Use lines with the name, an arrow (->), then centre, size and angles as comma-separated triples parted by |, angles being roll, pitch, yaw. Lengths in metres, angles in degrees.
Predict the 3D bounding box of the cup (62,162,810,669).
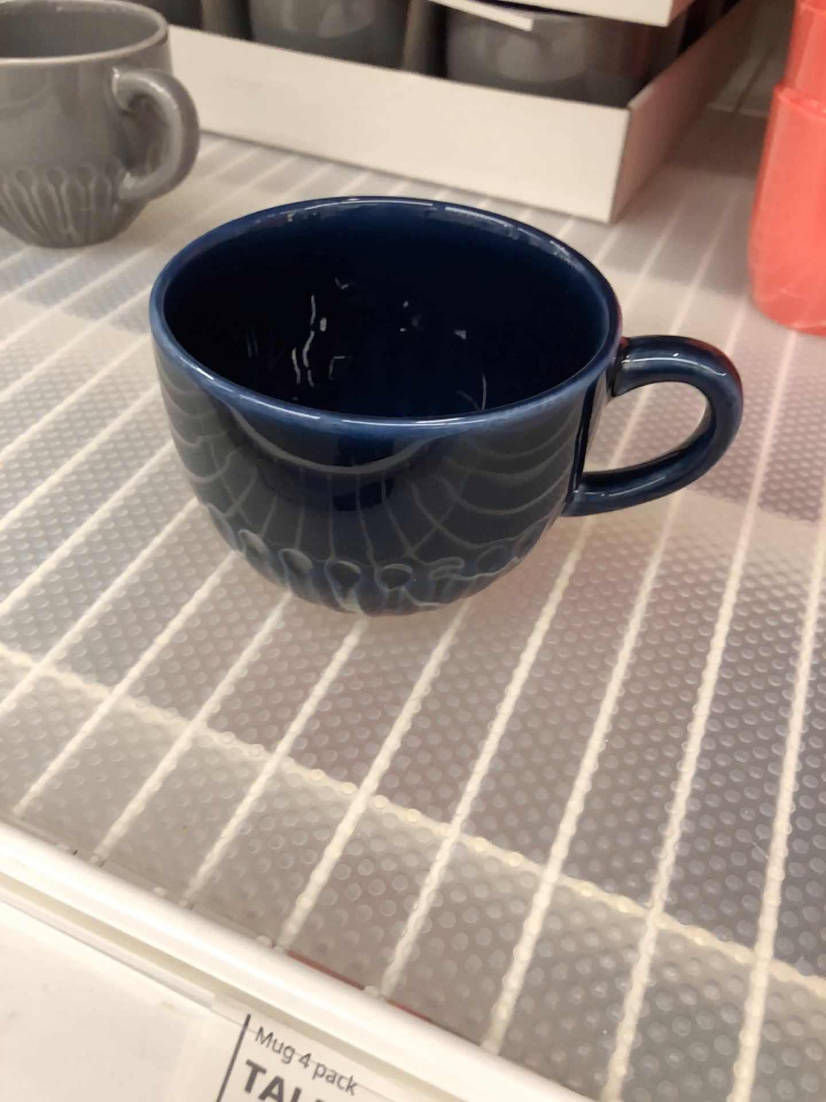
cup -> 0.006, -0.039, 0.222 | 0.130, 0.060, 0.110 | 4, 42, 1
